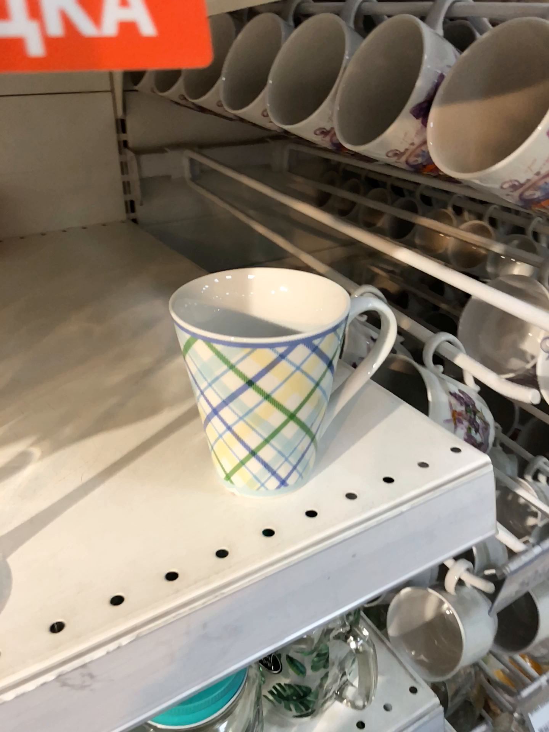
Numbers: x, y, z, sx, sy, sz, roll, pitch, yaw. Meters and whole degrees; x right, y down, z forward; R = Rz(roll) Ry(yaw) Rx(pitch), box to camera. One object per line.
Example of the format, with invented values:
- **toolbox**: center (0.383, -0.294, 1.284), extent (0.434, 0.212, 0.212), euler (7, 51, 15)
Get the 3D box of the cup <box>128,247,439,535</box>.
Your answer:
- **cup**: center (0.002, 0.003, 0.299), extent (0.116, 0.085, 0.089), euler (-15, 32, -24)
